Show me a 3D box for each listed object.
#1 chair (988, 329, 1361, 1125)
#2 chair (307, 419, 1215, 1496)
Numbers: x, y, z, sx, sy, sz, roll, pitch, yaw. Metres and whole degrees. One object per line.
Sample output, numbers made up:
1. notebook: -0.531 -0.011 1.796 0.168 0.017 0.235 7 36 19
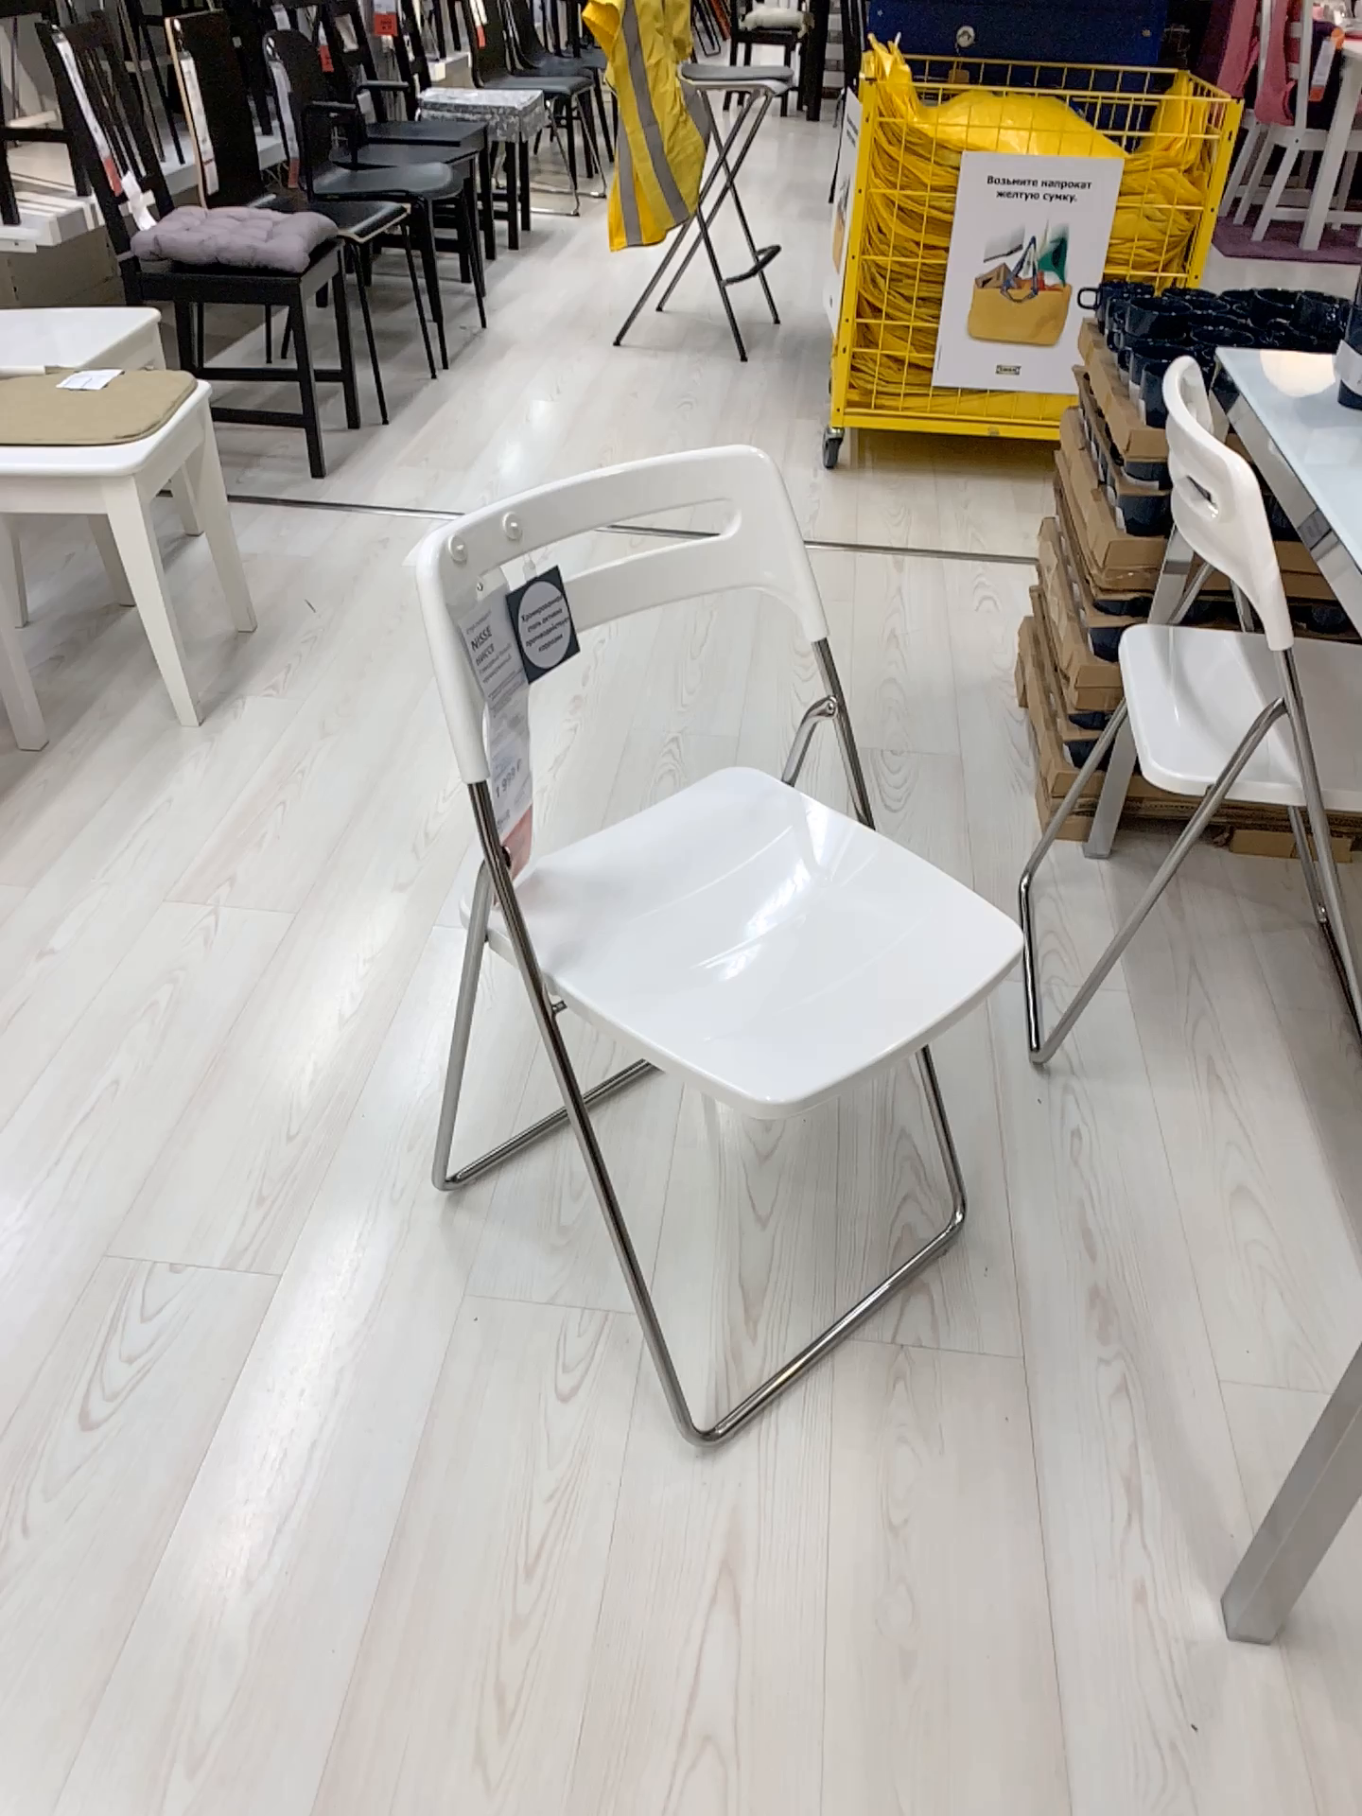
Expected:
1. chair: 0.697 -0.221 1.644 0.510 0.726 0.533 6 36 4
2. chair: 0.050 0.014 1.299 0.512 0.716 0.501 -28 45 -35
